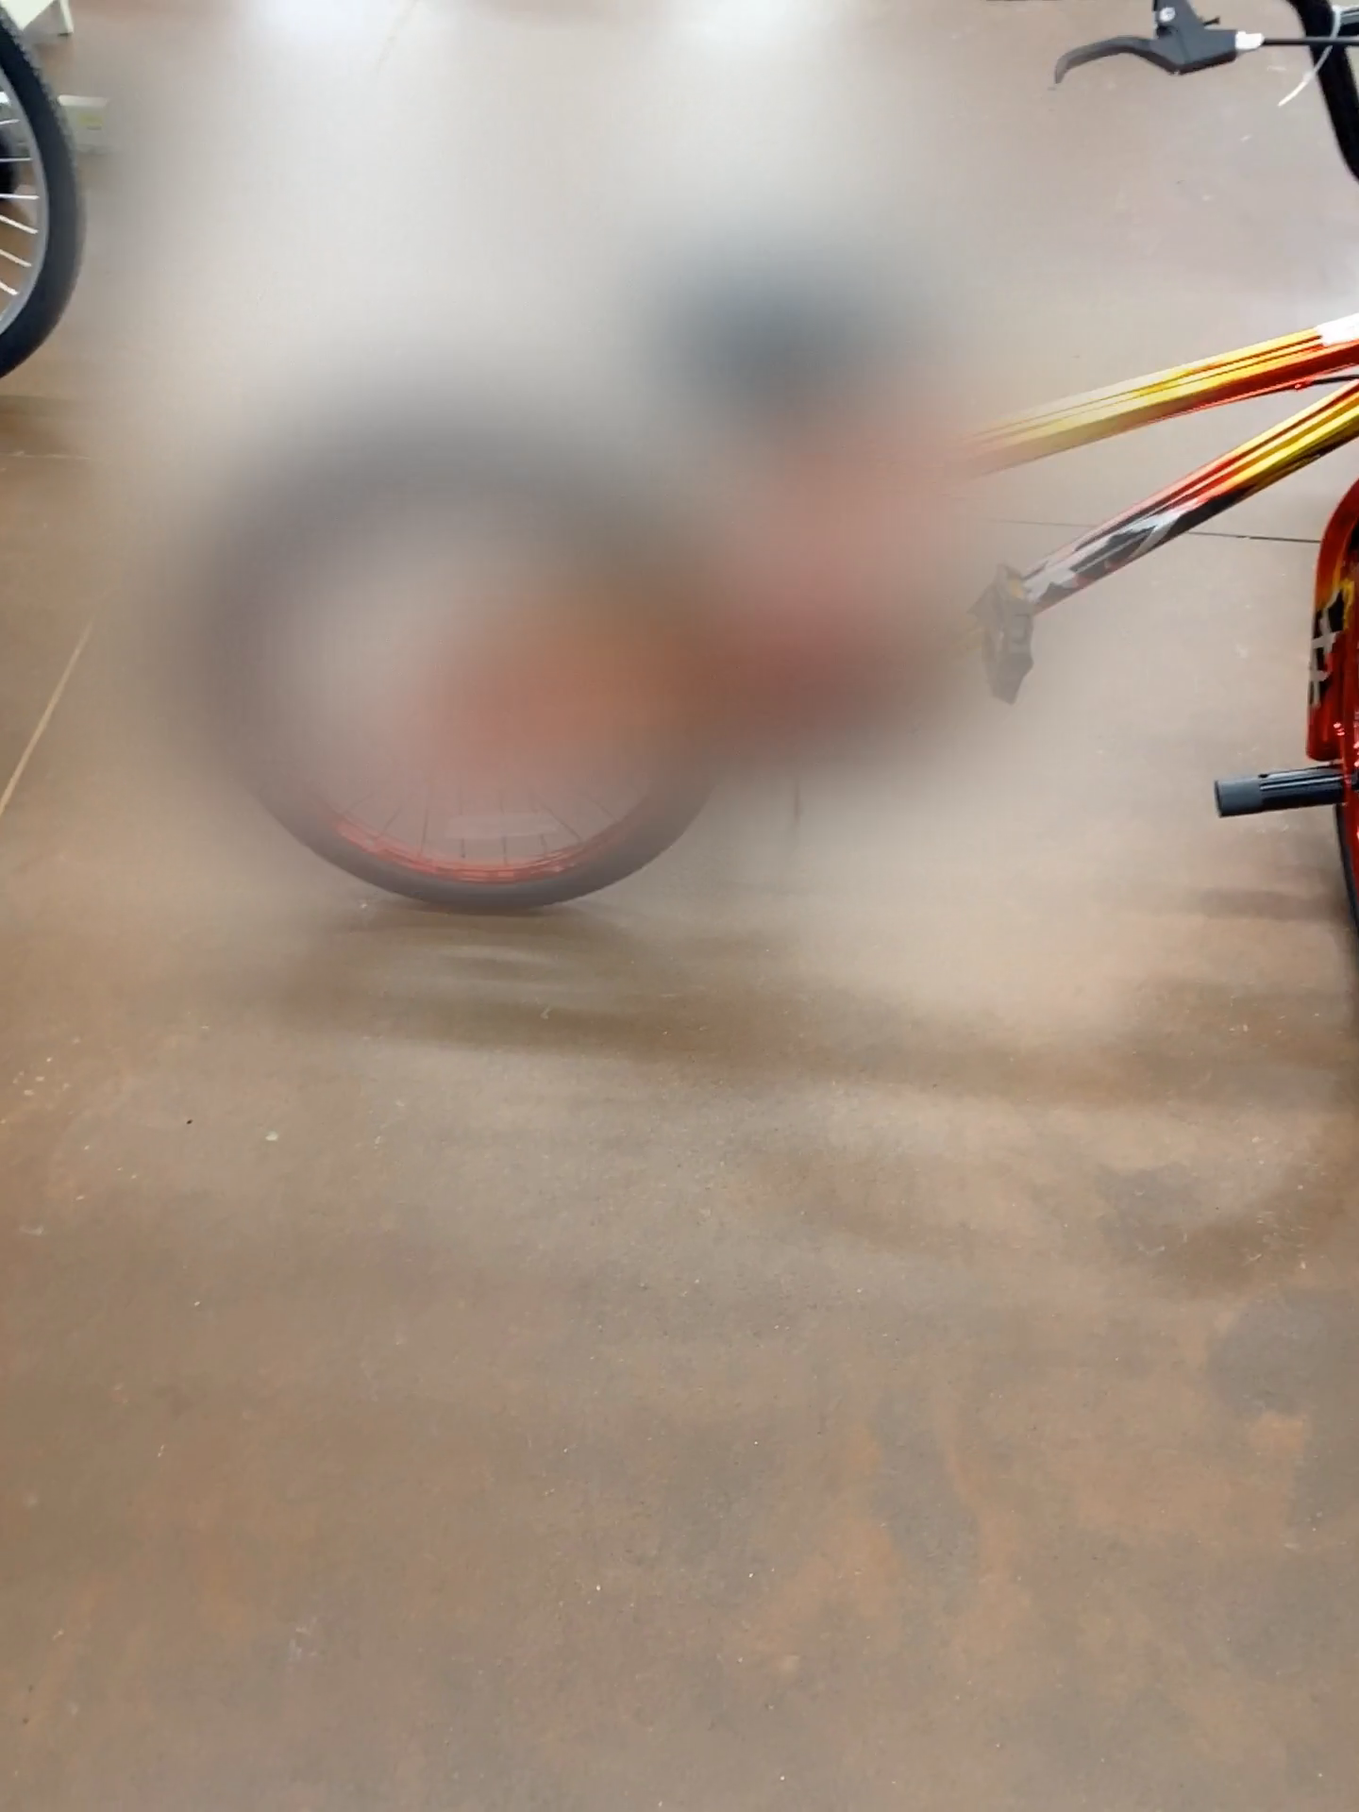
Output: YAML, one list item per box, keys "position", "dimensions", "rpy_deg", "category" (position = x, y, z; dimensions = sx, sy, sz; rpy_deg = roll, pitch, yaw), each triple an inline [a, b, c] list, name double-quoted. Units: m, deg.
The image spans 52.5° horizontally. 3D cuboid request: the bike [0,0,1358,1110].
- position: [0.155, -0.469, 1.156]
  dimensions: [1.123, 0.926, 0.706]
  rpy_deg: [-5, 49, -7]
  category: "bike"
